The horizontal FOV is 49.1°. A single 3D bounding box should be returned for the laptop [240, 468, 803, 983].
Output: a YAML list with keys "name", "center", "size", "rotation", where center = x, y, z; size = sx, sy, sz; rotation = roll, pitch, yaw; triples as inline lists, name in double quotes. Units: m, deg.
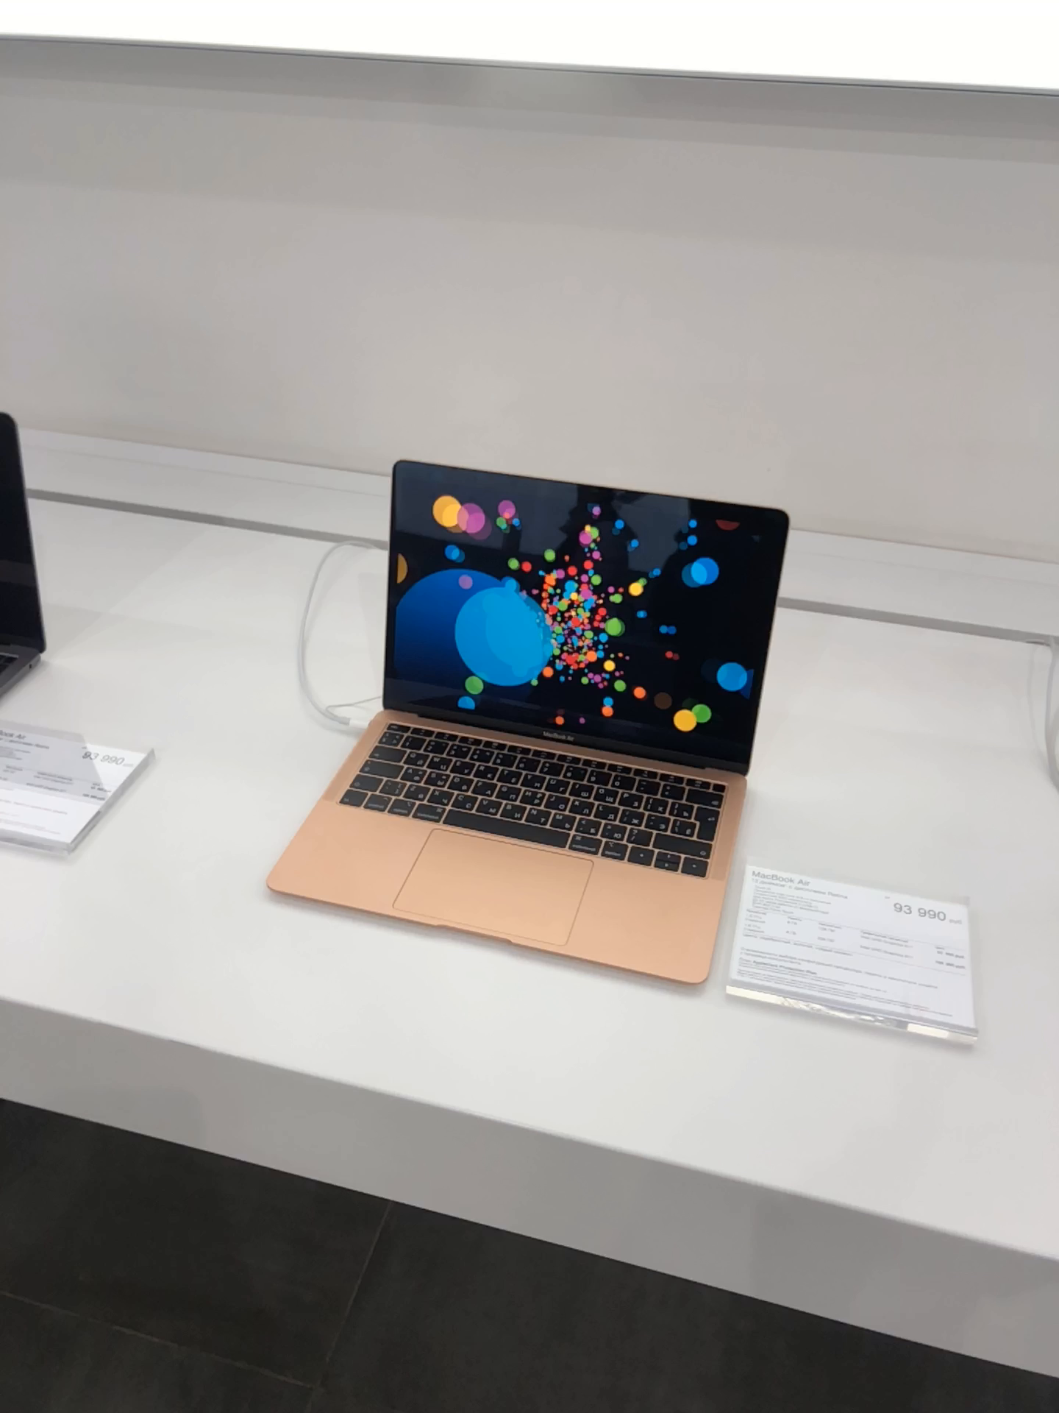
- name: "laptop"
  center: [0.011, -0.005, 0.802]
  size: [0.297, 0.188, 0.265]
  rotation: [10, 36, 13]

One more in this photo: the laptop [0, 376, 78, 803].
- name: "laptop"
  center: [-0.589, -0.106, 0.928]
  size: [0.293, 0.204, 0.249]
  rotation: [10, 37, 13]
